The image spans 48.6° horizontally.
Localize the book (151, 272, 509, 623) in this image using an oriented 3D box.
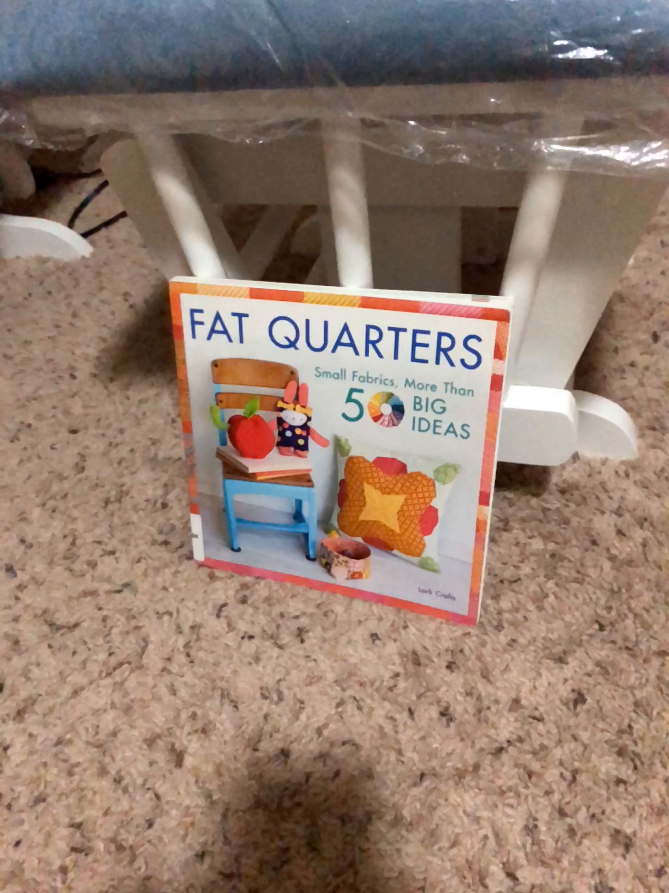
[{"bbox_3d":[-0.008,-0.002,0.460,0.207,0.193,0.030,9,25,20],"label":"book"}]
